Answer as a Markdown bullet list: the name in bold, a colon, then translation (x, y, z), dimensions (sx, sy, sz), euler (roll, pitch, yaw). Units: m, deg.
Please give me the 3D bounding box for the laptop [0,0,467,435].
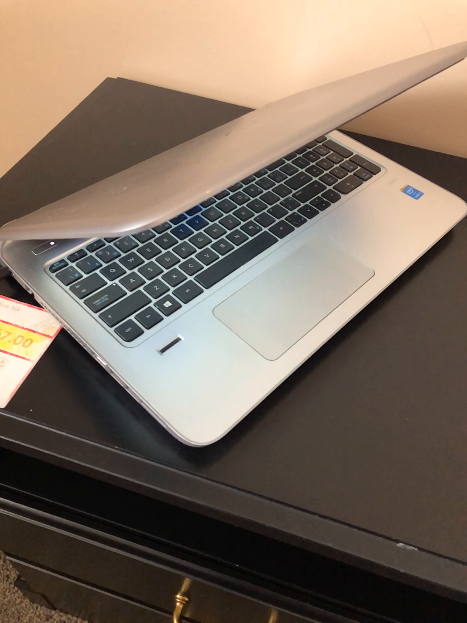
- **laptop**: translation (0.032, -0.124, 0.401), dimensions (0.228, 0.153, 0.356), euler (38, 56, 24)
